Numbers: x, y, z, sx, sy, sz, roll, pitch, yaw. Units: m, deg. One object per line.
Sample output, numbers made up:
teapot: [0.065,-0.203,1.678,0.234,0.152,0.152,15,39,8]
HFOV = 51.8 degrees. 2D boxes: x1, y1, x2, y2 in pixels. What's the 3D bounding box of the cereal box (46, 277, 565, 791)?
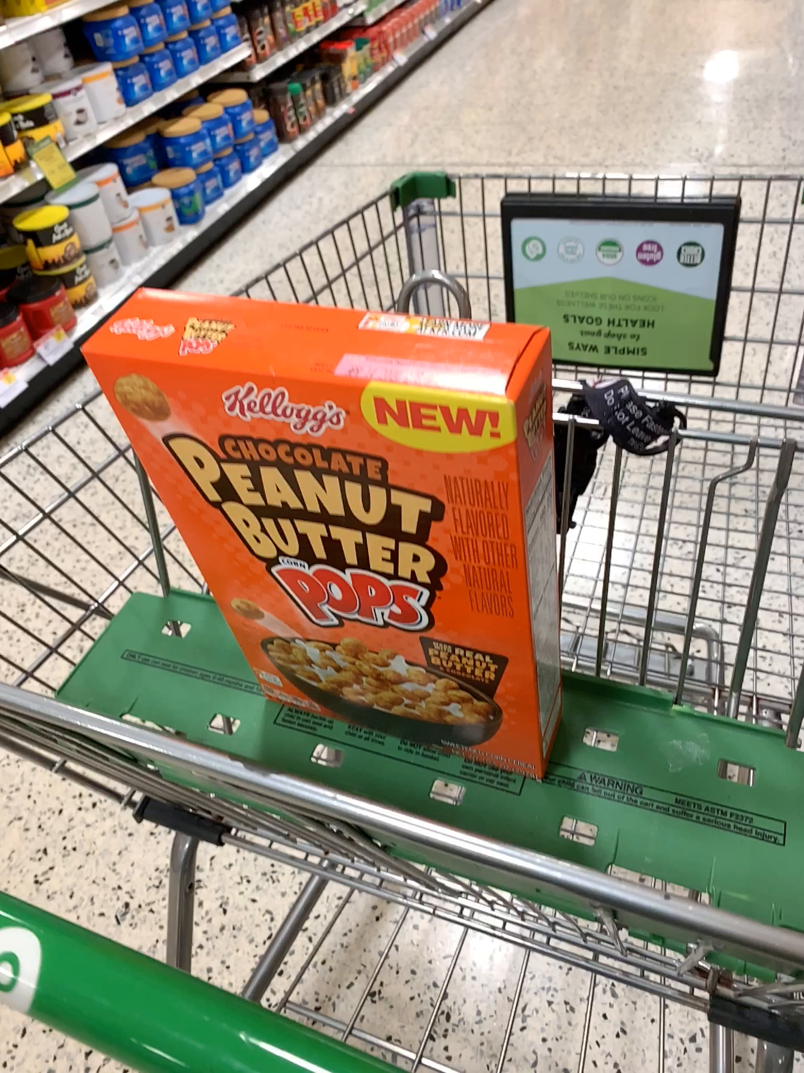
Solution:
cereal box: [-0.024,0.015,0.426,0.200,0.287,0.050,11,51,21]
